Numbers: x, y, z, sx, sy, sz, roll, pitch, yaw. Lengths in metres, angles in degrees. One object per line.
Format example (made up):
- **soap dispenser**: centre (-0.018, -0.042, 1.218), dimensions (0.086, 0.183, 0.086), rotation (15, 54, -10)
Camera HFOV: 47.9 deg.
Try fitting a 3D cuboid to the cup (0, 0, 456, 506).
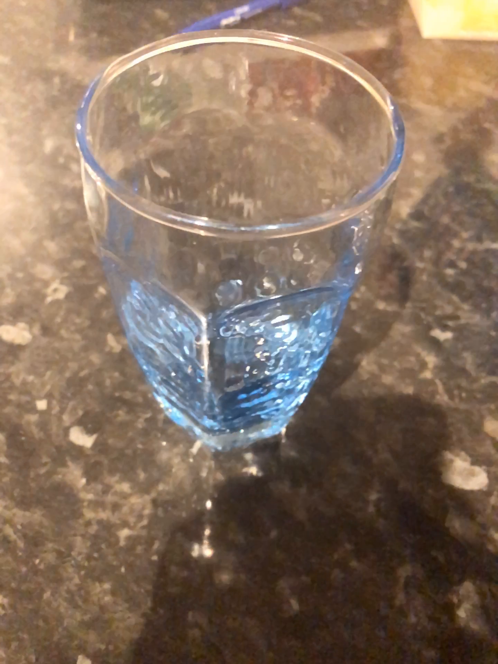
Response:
- **cup**: centre (-0.012, -0.019, 0.170), dimensions (0.070, 0.119, 0.080), rotation (-33, 63, -23)
